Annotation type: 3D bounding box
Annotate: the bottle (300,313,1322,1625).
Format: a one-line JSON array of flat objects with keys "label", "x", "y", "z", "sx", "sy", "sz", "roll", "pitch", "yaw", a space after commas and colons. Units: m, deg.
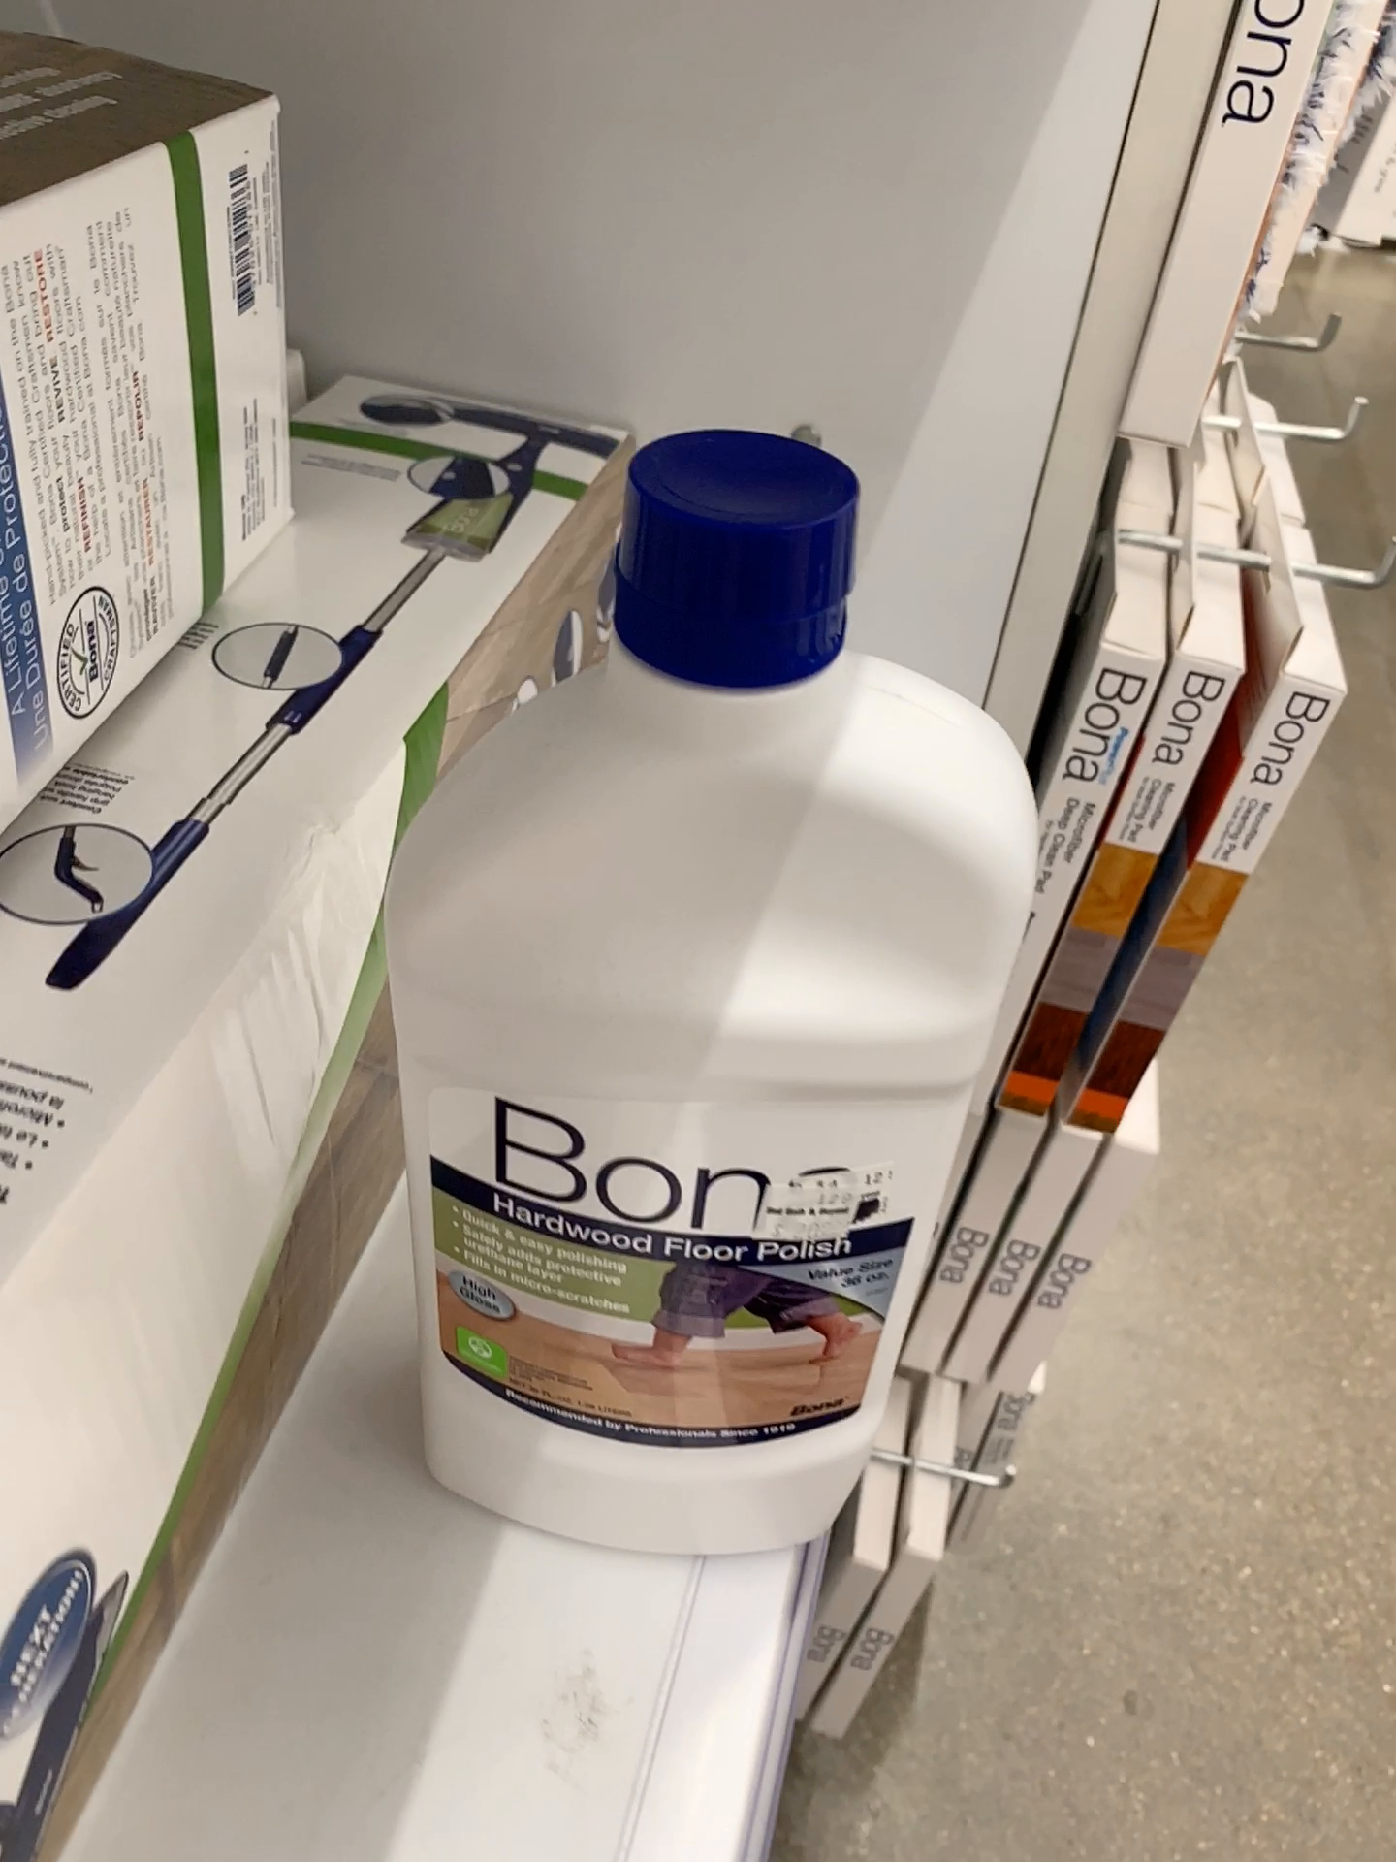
[{"label": "bottle", "x": 0.003, "y": 0.033, "z": 0.278, "sx": 0.120, "sy": 0.259, "sz": 0.070, "roll": 7, "pitch": 40, "yaw": -1}]
